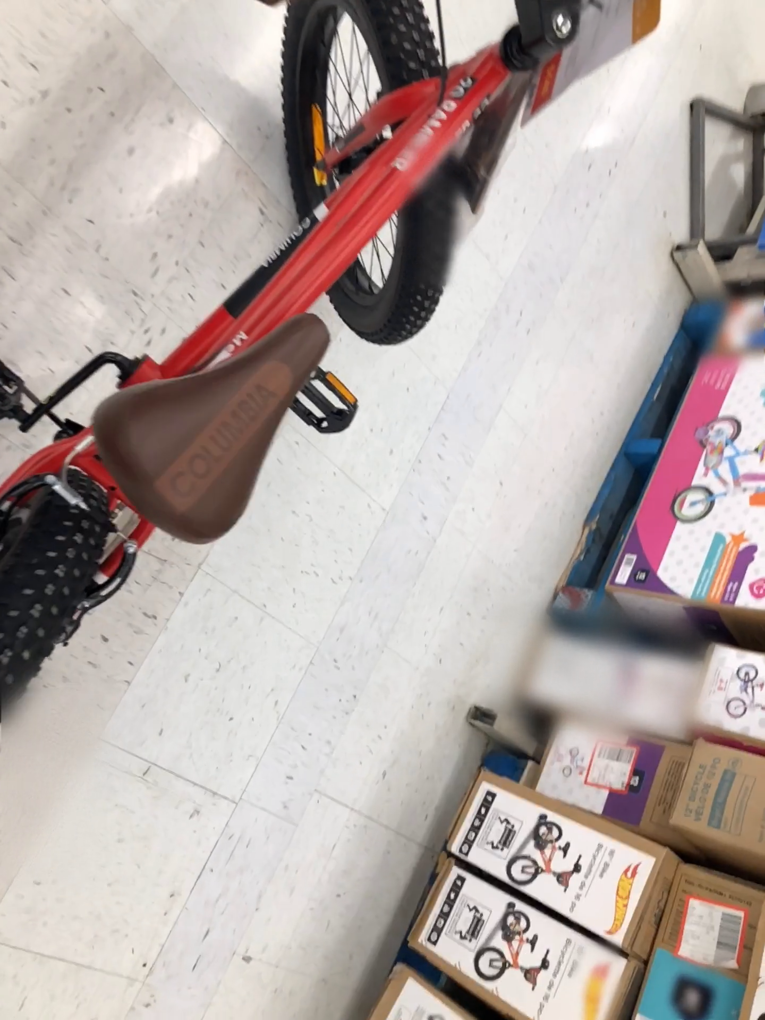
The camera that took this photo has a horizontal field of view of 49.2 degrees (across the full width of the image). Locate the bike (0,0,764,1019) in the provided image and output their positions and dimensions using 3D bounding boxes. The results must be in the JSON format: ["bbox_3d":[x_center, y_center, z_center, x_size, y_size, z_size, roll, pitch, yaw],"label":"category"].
[{"bbox_3d":[-0.213,-0.173,0.898,0.610,0.968,1.358,42,64,-37],"label":"bike"}]
